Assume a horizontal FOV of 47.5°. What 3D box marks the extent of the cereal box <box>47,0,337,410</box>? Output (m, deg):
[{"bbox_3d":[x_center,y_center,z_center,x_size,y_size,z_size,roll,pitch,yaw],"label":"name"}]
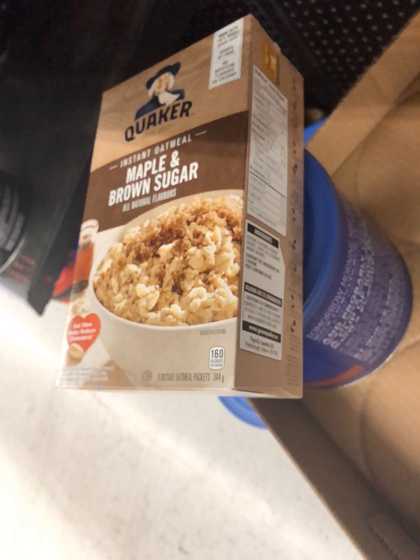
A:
[{"bbox_3d":[-0.009,-0.031,0.279,0.141,0.070,0.200,-9,70,36],"label":"cereal box"}]
